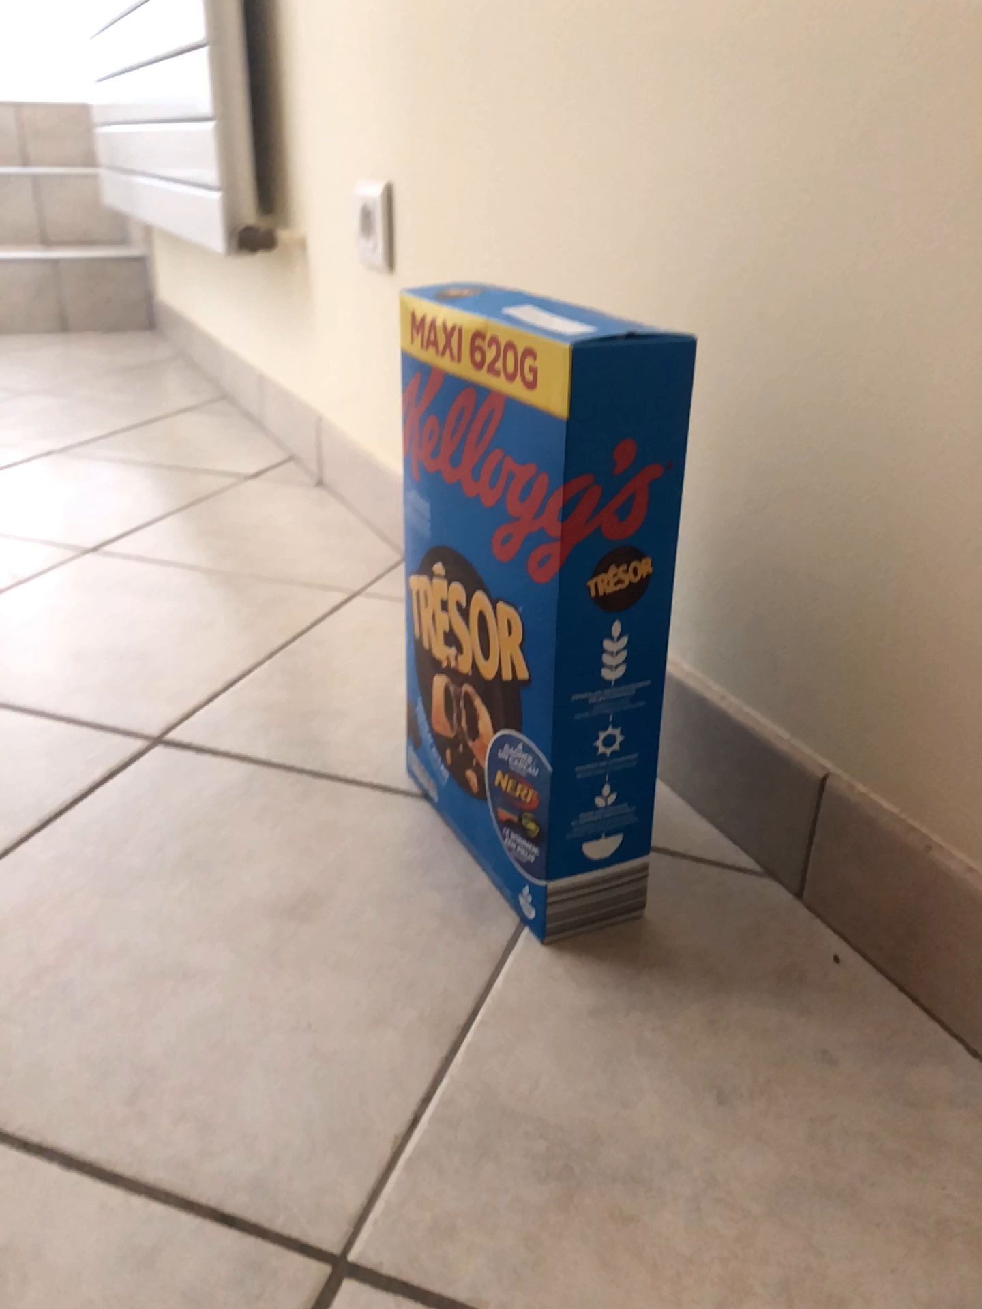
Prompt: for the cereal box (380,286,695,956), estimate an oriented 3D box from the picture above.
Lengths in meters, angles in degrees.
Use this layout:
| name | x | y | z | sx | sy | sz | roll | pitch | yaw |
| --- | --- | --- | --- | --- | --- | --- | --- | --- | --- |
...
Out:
| name | x | y | z | sx | sy | sz | roll | pitch | yaw |
| --- | --- | --- | --- | --- | --- | --- | --- | --- | --- |
| cereal box | 0.011 | -0.028 | 0.572 | 0.070 | 0.298 | 0.191 | -10 | 26 | -23 |
